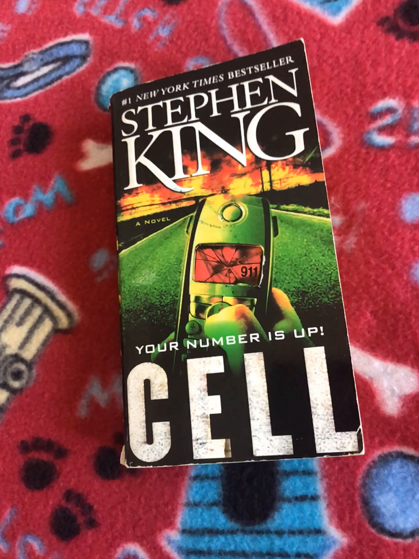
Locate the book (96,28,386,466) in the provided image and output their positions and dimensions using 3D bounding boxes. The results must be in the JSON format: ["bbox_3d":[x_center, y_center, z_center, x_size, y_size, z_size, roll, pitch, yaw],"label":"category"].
[{"bbox_3d":[0.008,-0.017,0.236,0.120,0.030,0.200,-7,77,11],"label":"book"}]
